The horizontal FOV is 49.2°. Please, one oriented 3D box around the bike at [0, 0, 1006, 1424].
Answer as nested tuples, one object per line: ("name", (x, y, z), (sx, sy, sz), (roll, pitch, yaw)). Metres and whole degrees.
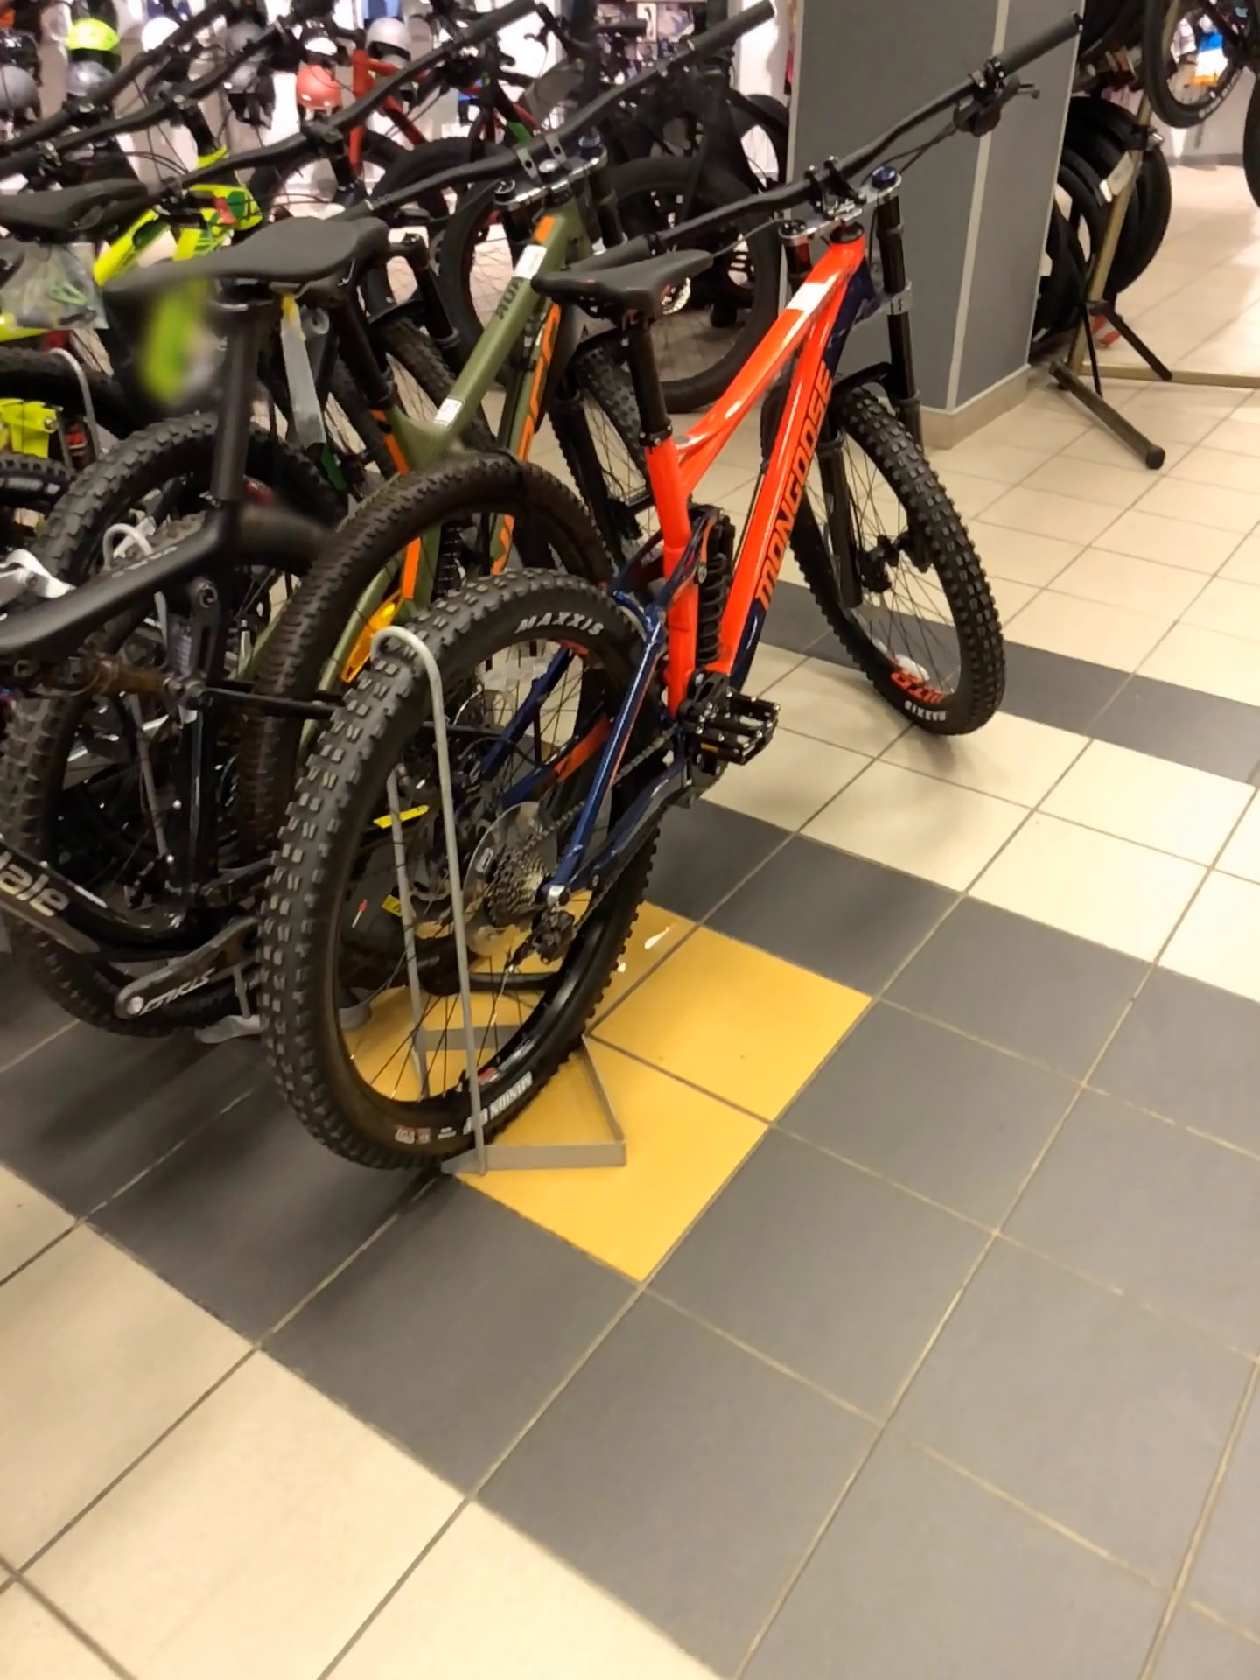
("bike", (-0.077, -0.485, 1.892), (0.801, 1.108, 1.707), (13, 37, 19))
